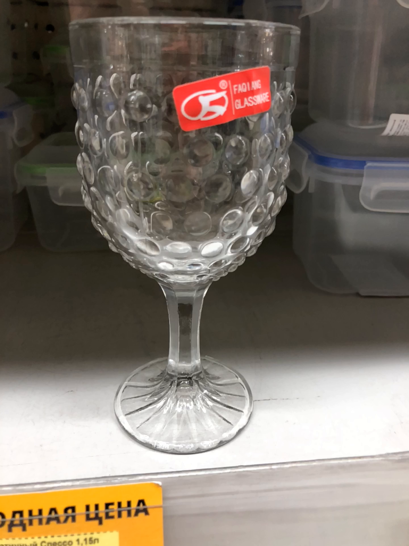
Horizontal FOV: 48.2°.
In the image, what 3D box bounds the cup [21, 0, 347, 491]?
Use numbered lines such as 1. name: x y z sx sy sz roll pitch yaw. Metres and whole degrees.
1. cup: -0.011 -0.011 0.184 0.081 0.160 0.087 1 23 -1
